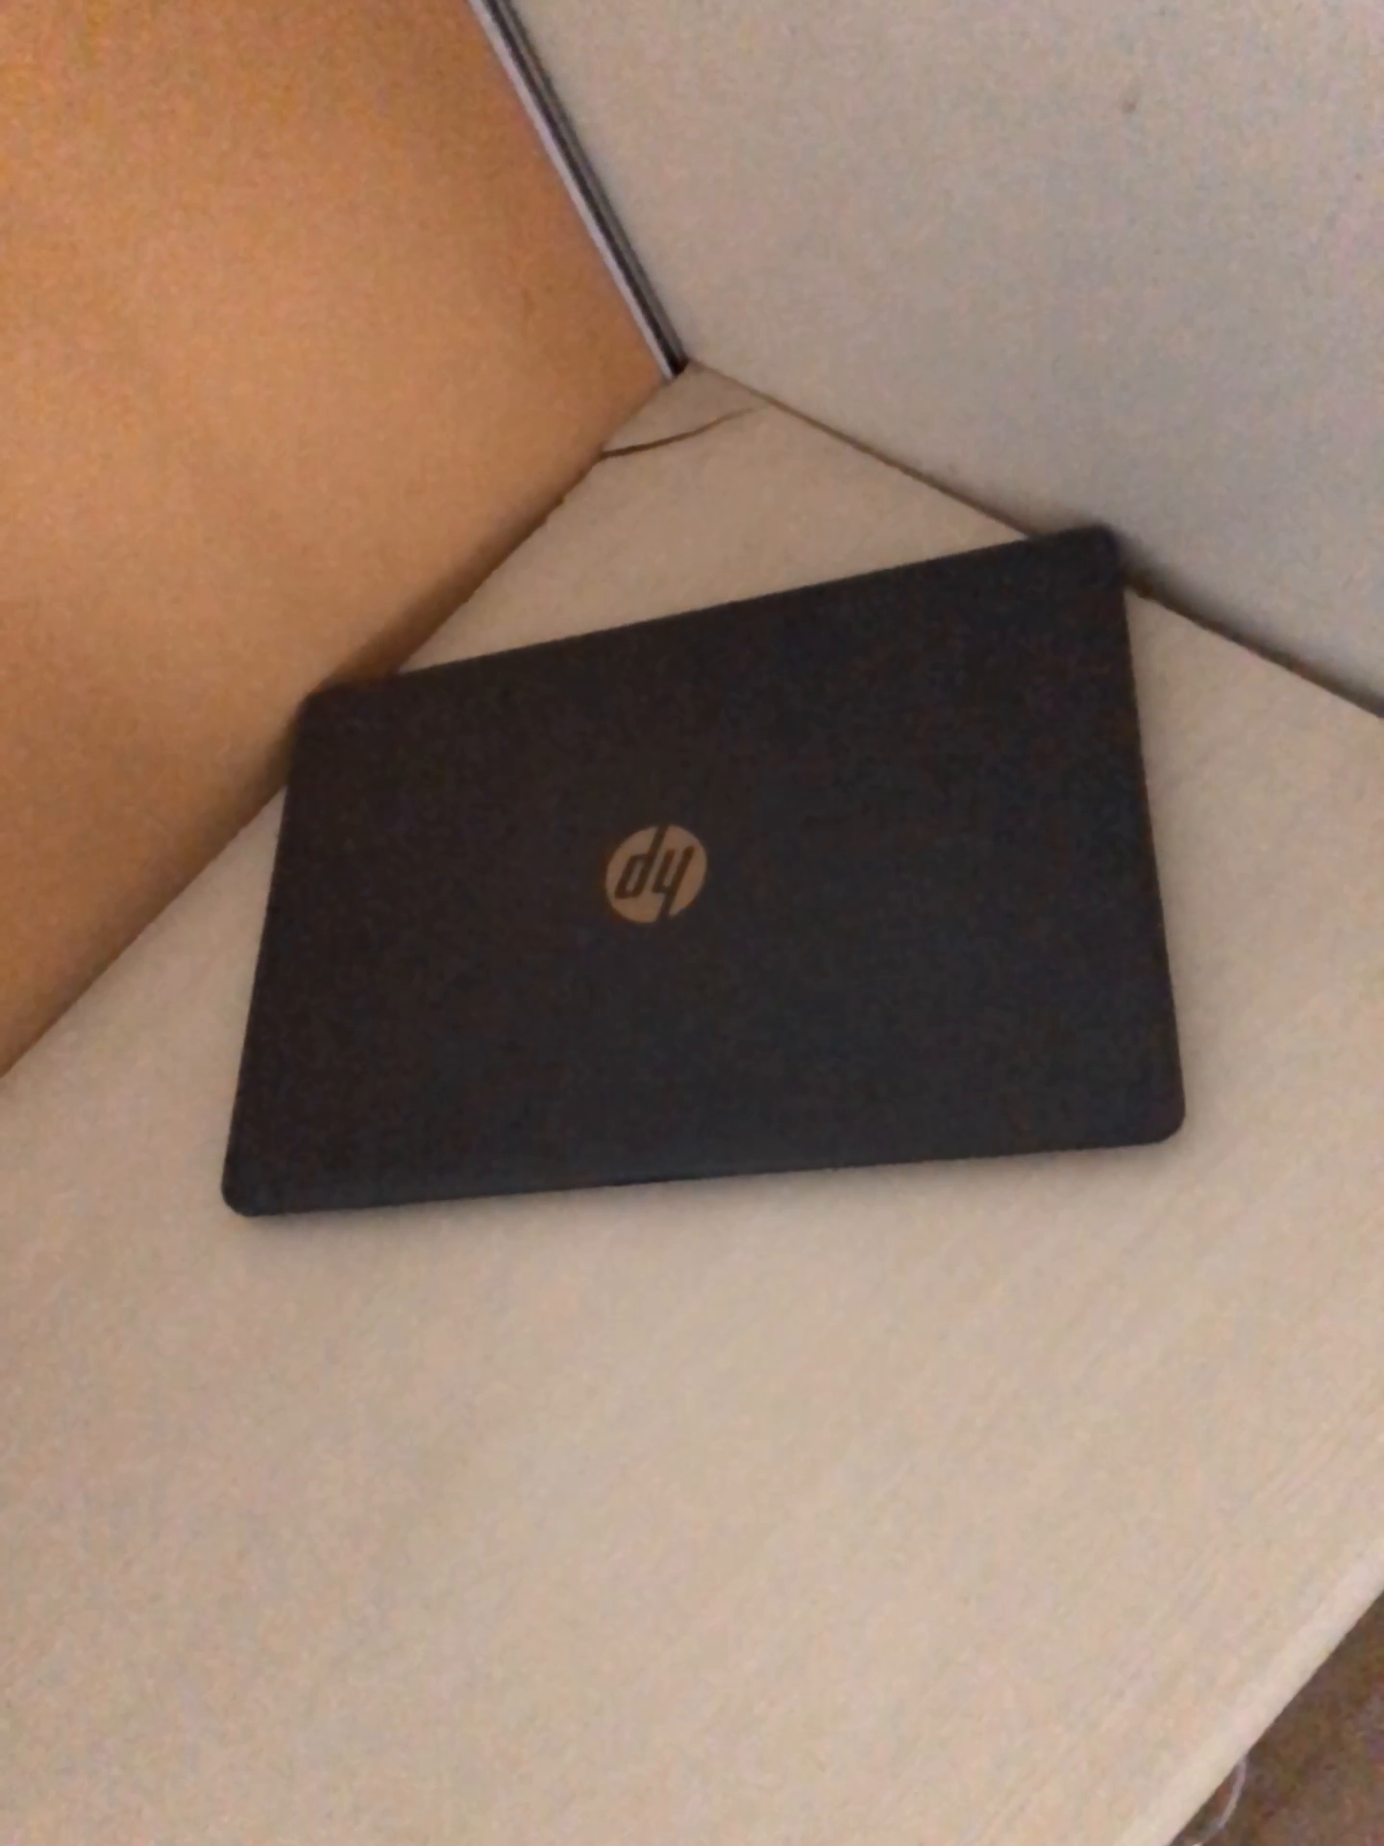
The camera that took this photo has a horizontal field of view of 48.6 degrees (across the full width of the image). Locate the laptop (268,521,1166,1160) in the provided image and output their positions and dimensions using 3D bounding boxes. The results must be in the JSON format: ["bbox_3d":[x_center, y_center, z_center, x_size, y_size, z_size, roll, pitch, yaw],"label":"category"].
[{"bbox_3d":[-0.002,-0.031,0.623,0.356,0.004,0.237,-8,61,21],"label":"laptop"}]
